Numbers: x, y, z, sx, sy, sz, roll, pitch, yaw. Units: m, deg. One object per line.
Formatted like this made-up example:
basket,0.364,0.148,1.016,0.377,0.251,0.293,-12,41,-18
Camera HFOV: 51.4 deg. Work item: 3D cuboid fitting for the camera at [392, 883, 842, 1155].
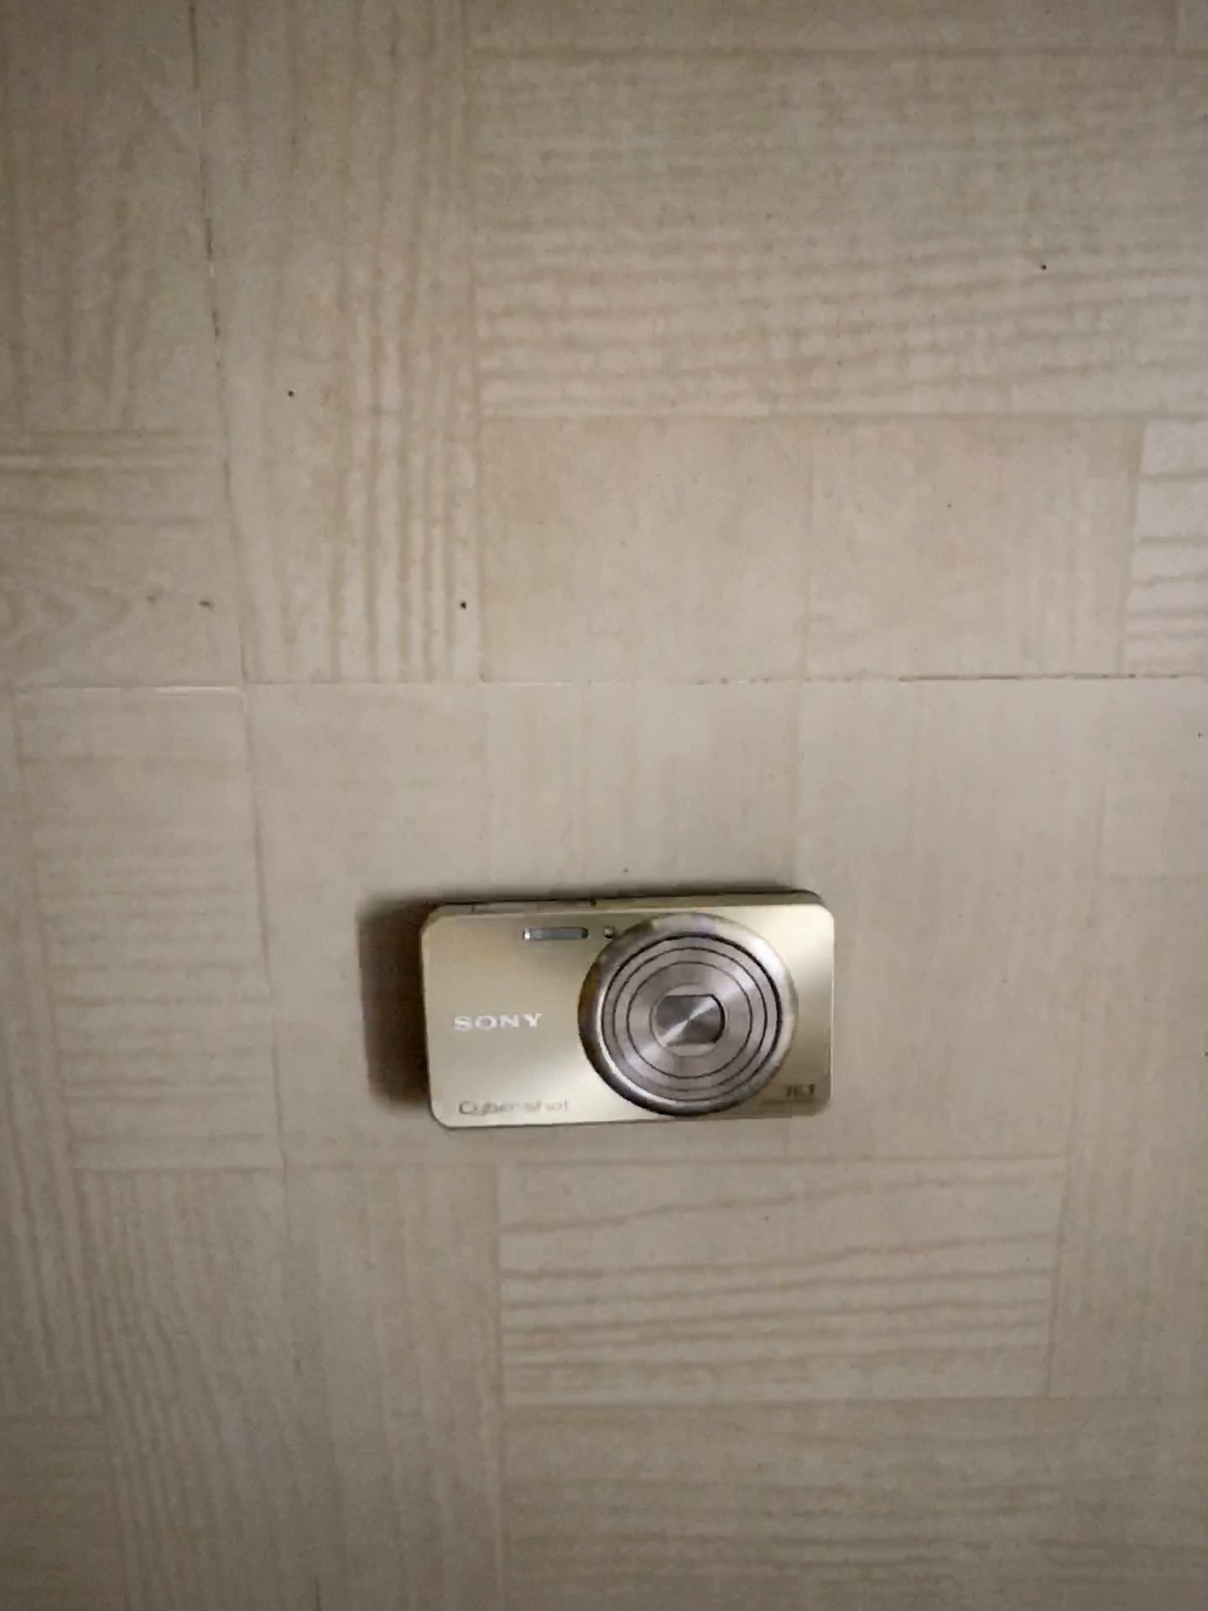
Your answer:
camera,0.003,0.048,0.287,0.097,0.019,0.057,0,104,-1
